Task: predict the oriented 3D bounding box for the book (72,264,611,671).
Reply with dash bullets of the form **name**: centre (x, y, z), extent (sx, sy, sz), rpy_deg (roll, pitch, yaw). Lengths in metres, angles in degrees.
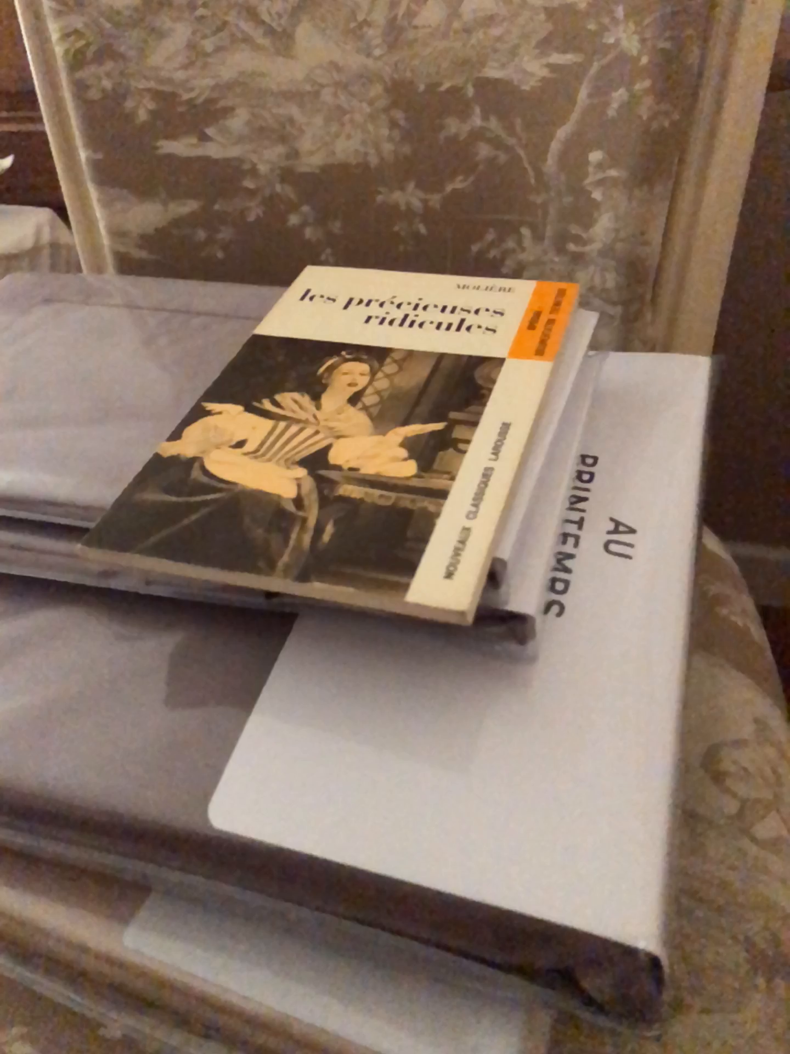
- **book**: centre (-0.002, -0.037, 0.289), extent (0.120, 0.020, 0.181), rpy_deg (7, 42, 17)
